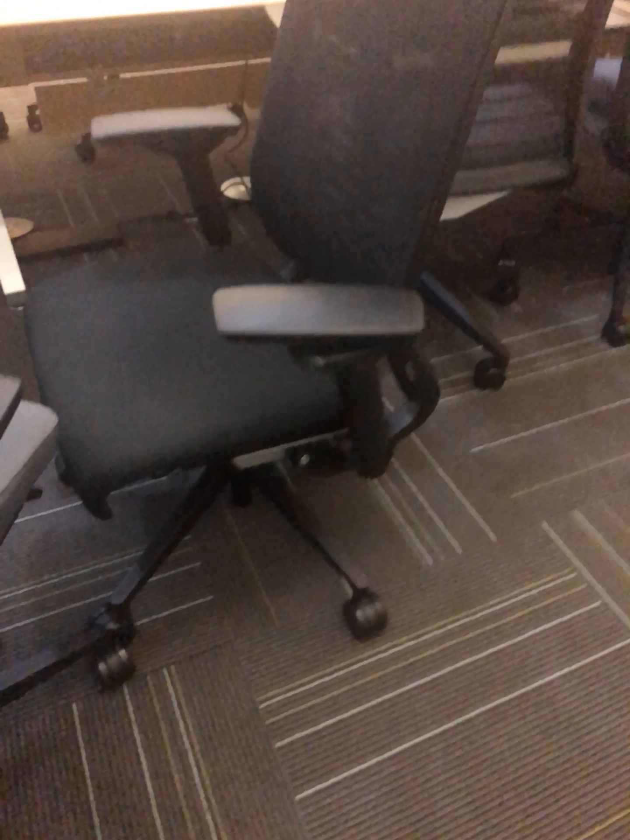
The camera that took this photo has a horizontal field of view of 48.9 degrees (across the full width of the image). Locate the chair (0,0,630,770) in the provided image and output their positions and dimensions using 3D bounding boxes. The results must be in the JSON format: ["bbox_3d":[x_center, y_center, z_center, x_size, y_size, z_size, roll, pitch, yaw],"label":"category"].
[{"bbox_3d":[-0.147,-0.175,1.070,0.732,0.992,0.724,-17,44,-19],"label":"chair"}]
